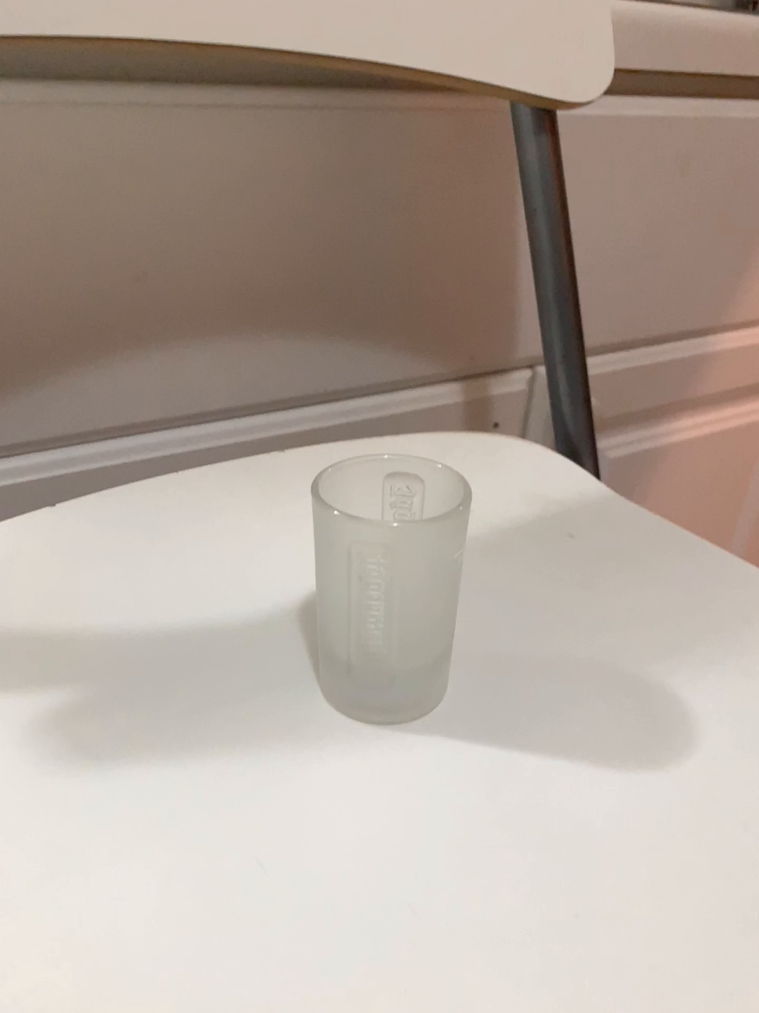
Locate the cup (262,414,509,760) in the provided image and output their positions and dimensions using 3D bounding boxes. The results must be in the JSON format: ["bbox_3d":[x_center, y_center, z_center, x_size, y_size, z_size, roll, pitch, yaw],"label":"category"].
[{"bbox_3d":[-0.001,0.021,0.222,0.049,0.075,0.042,-16,34,-30],"label":"cup"}]
